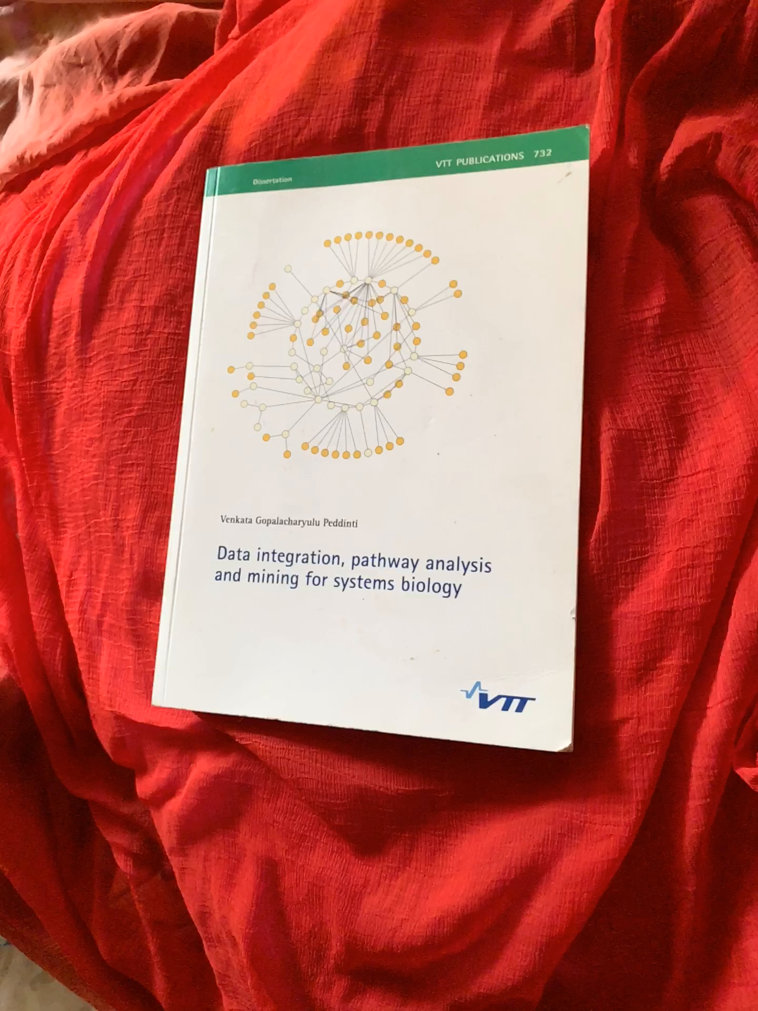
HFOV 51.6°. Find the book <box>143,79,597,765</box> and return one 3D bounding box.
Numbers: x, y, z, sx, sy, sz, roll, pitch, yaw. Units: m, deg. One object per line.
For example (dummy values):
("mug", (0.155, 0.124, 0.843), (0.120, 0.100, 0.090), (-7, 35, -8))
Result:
("book", (-0.003, -0.041, 0.338), (0.180, 0.020, 0.270), (1, 80, 19))
